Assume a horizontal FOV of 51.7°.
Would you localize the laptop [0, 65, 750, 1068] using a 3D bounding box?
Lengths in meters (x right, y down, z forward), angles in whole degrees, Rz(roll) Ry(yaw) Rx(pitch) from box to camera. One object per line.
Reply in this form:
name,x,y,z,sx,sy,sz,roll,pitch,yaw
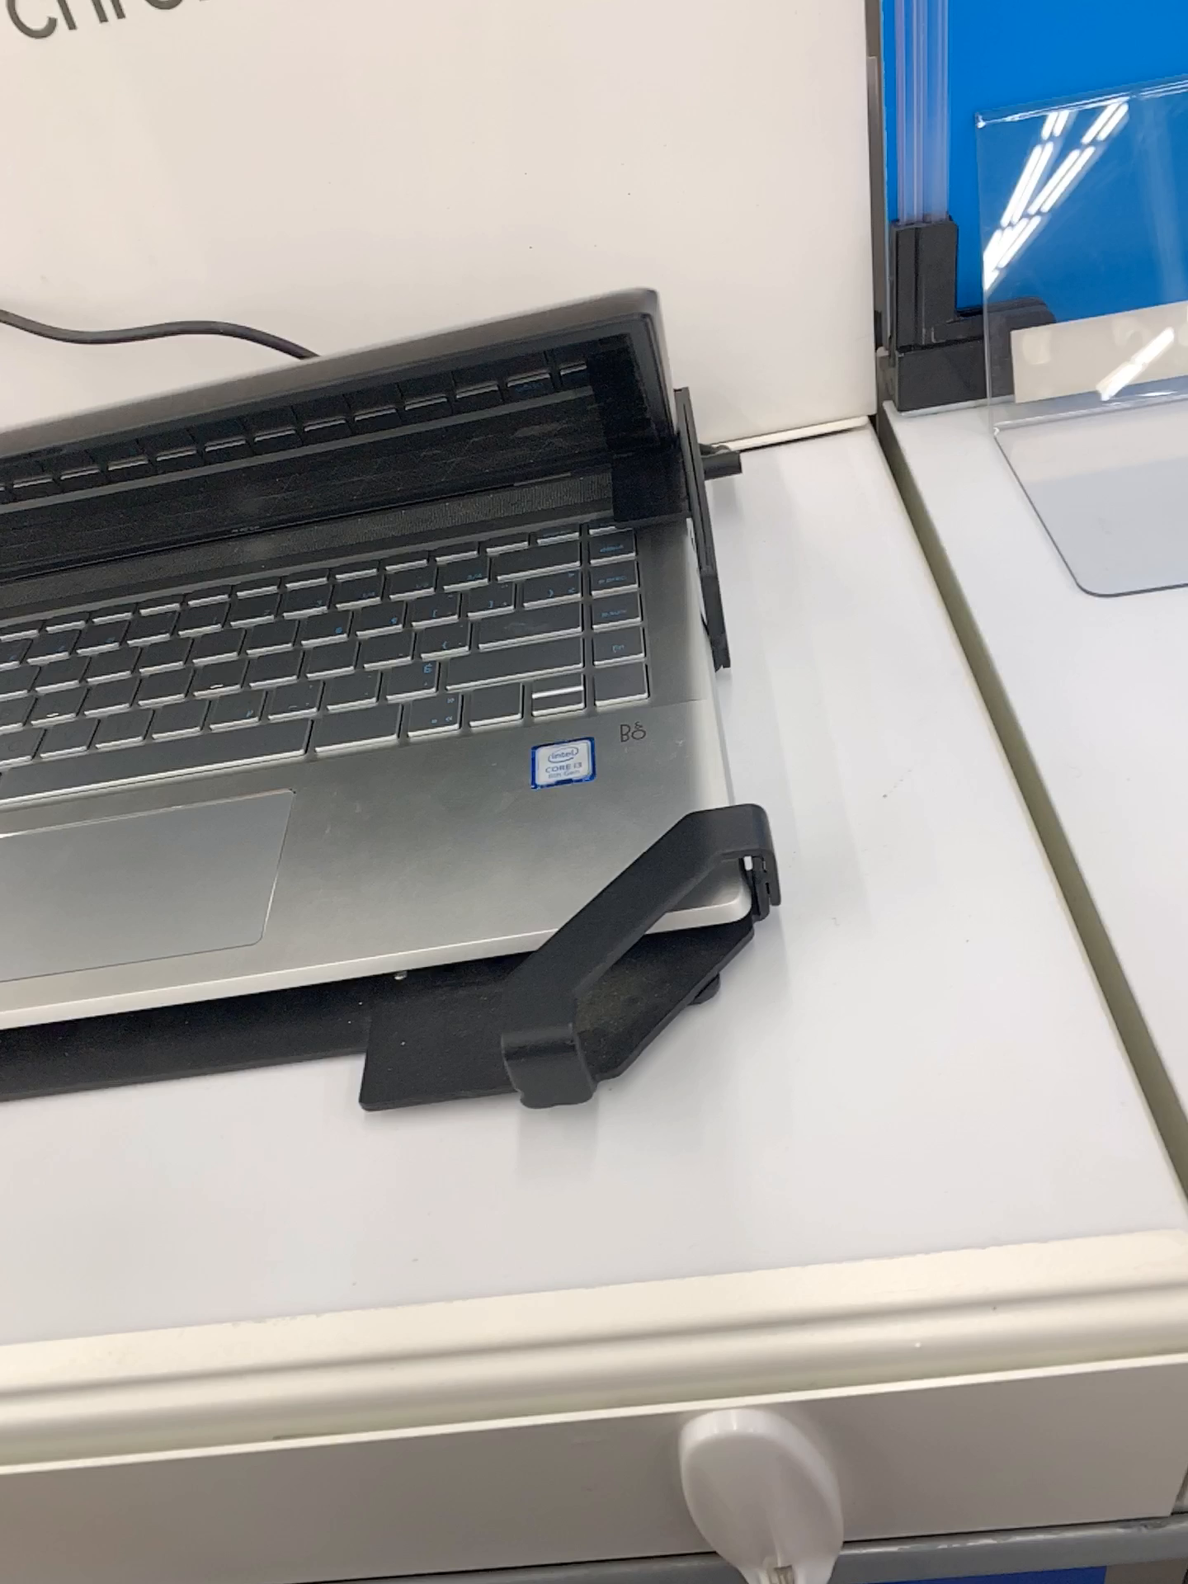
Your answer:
laptop,-0.121,-0.061,0.308,0.283,0.111,0.194,-9,42,9
